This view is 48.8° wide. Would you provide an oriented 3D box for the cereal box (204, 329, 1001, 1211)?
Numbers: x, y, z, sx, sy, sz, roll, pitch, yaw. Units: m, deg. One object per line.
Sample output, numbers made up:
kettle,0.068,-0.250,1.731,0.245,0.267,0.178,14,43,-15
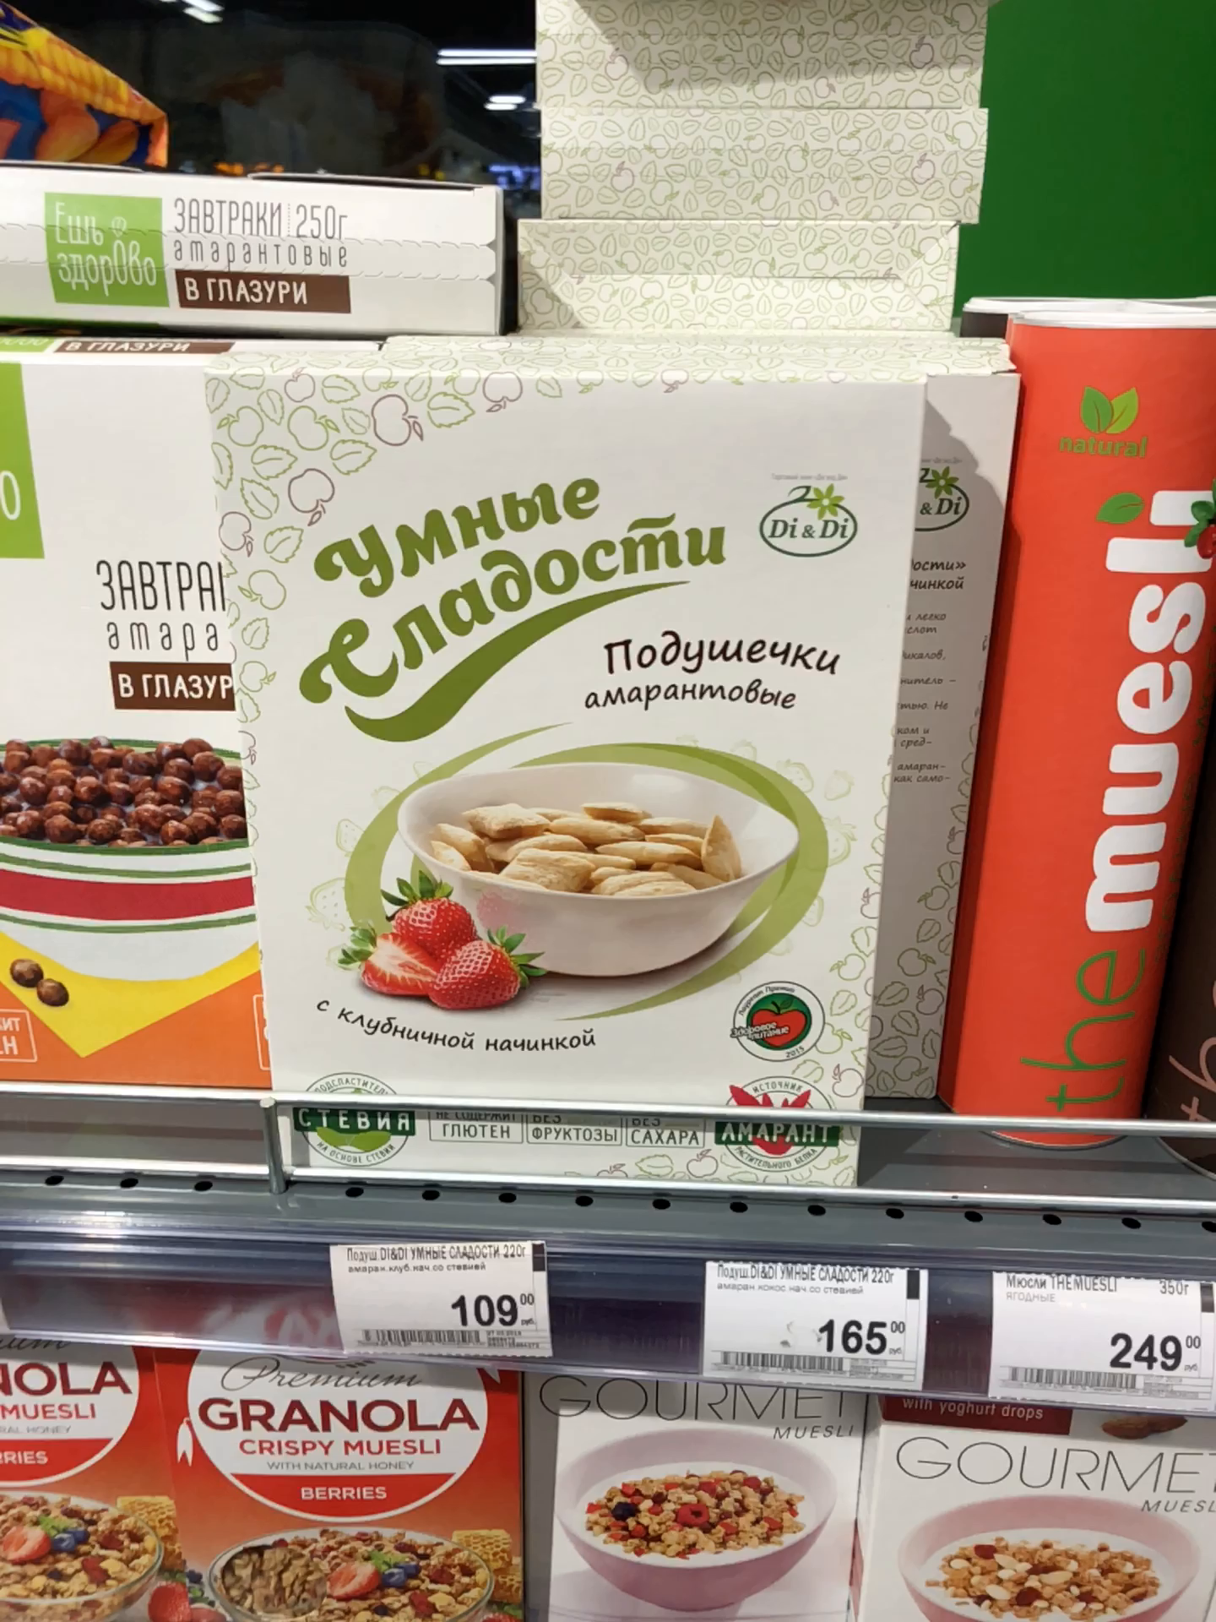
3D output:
cereal box,-0.002,-0.007,0.405,0.200,0.259,0.050,2,21,3
